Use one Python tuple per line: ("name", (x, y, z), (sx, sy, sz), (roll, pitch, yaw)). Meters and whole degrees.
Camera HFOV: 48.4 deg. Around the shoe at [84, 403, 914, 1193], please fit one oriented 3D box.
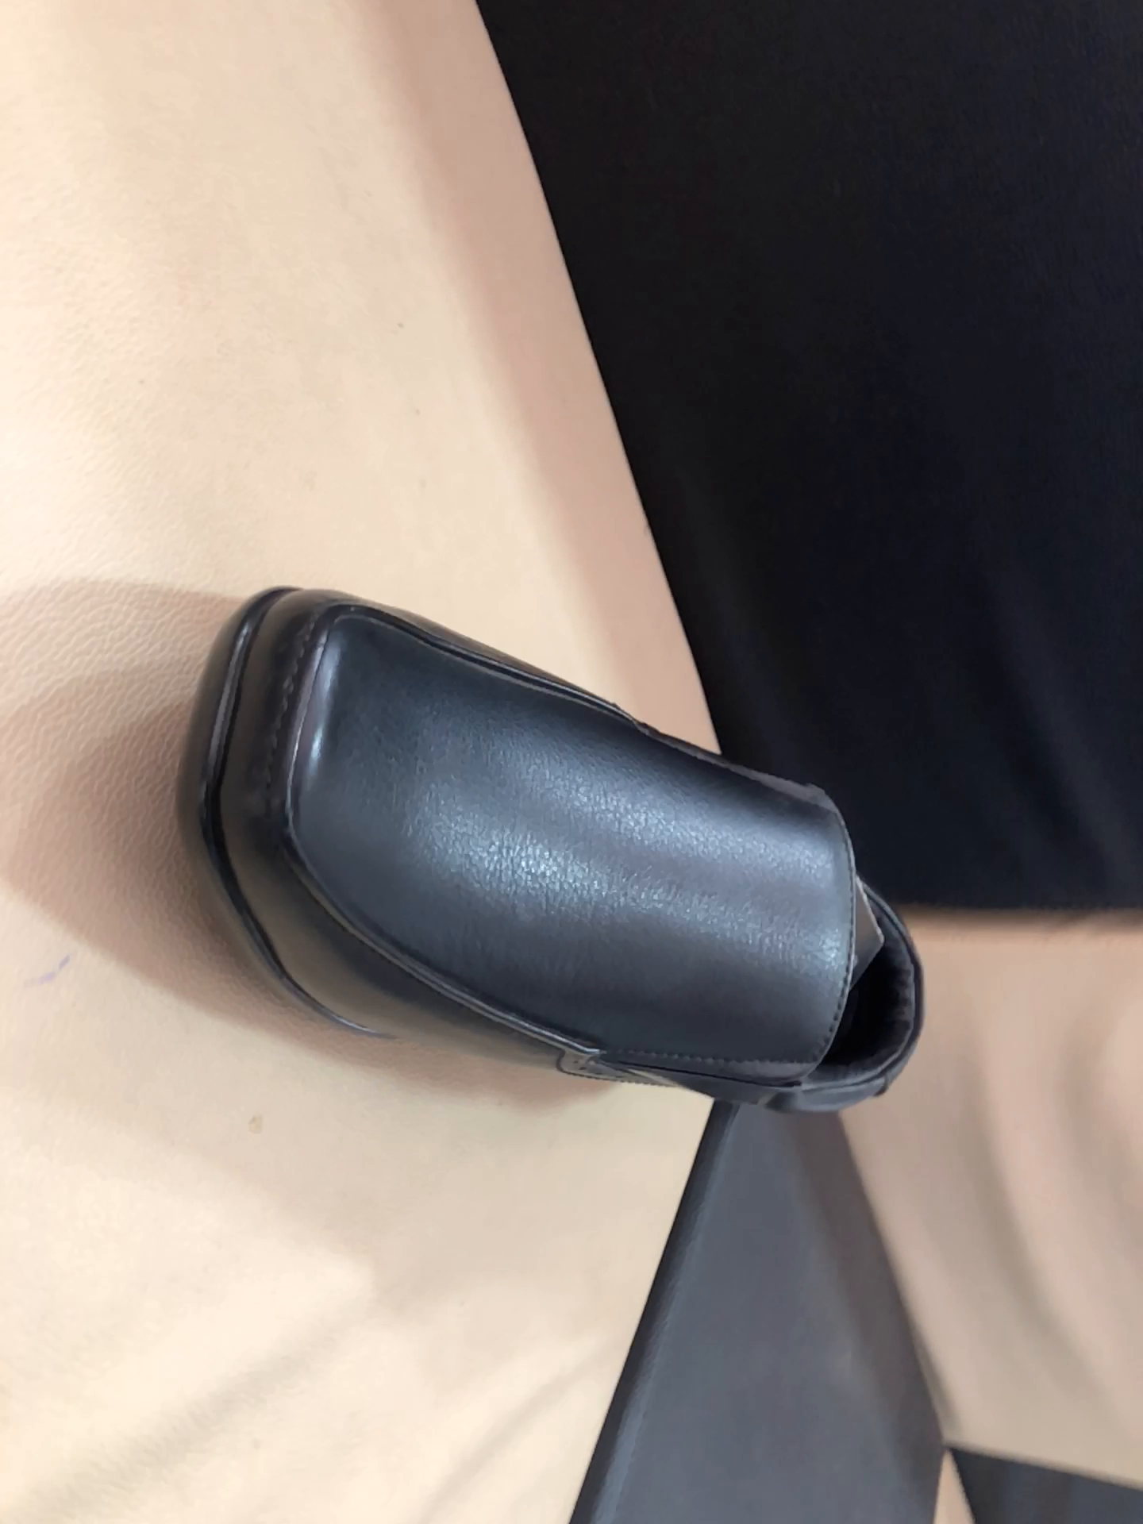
("shoe", (0.019, 0.040, 0.334), (0.282, 0.069, 0.110), (38, 55, -55))
